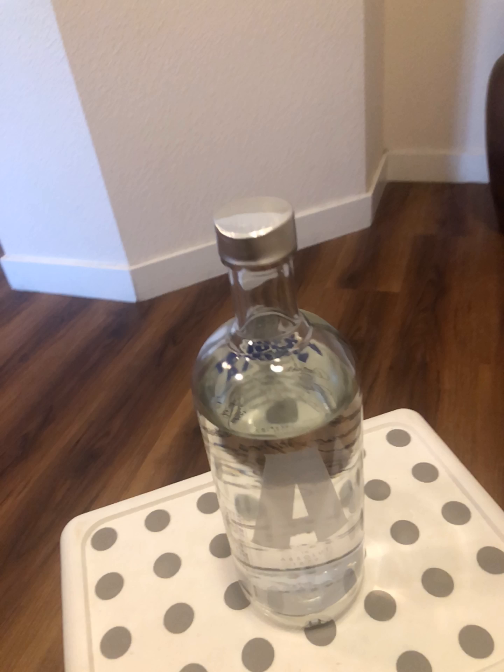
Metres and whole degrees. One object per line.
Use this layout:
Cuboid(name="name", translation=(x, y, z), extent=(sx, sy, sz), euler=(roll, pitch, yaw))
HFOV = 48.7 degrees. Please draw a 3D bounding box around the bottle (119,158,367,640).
Cuboid(name="bottle", translation=(0.016, 0.053, 0.317), extent=(0.090, 0.268, 0.101), euler=(-2, 35, 8))
